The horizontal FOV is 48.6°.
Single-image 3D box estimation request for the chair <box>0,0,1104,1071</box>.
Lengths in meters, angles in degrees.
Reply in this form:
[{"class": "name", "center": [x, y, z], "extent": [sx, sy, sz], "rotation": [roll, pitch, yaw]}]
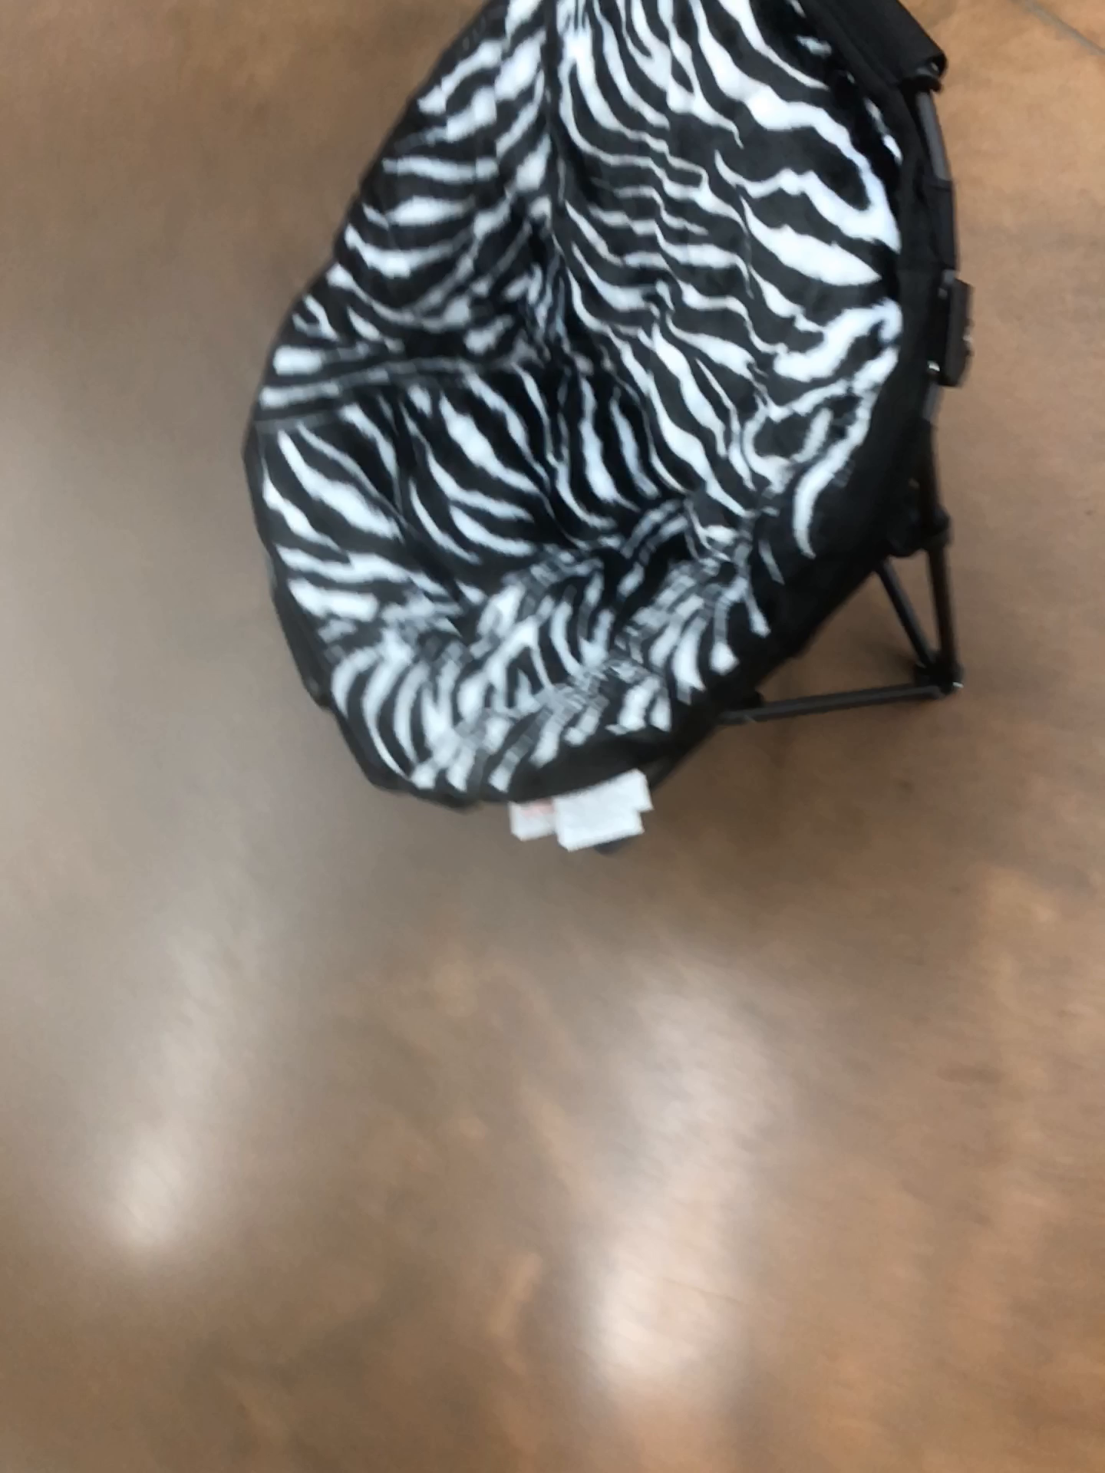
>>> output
[{"class": "chair", "center": [0.058, -0.172, 0.969], "extent": [0.600, 0.599, 0.611], "rotation": [-28, 64, 9]}]
